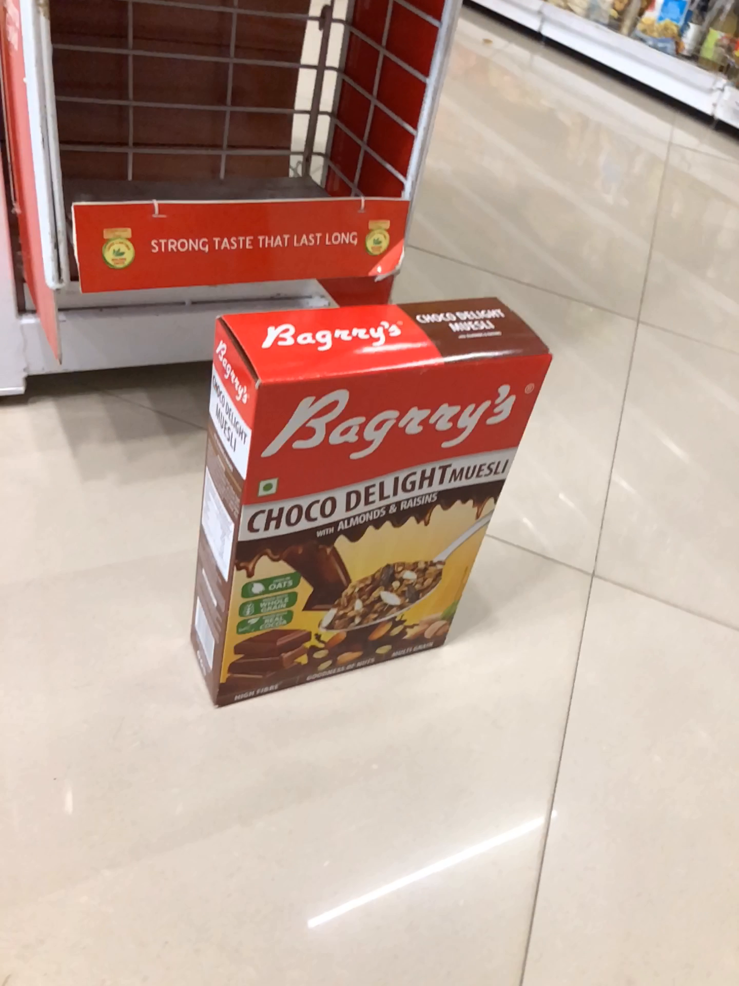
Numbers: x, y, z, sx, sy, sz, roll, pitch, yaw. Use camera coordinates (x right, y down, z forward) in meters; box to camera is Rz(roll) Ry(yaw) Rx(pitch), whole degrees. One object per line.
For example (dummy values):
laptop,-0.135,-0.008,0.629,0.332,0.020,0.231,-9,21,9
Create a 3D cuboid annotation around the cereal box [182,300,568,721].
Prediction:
cereal box,-0.011,0.015,0.523,0.191,0.258,0.070,-9,43,-26
